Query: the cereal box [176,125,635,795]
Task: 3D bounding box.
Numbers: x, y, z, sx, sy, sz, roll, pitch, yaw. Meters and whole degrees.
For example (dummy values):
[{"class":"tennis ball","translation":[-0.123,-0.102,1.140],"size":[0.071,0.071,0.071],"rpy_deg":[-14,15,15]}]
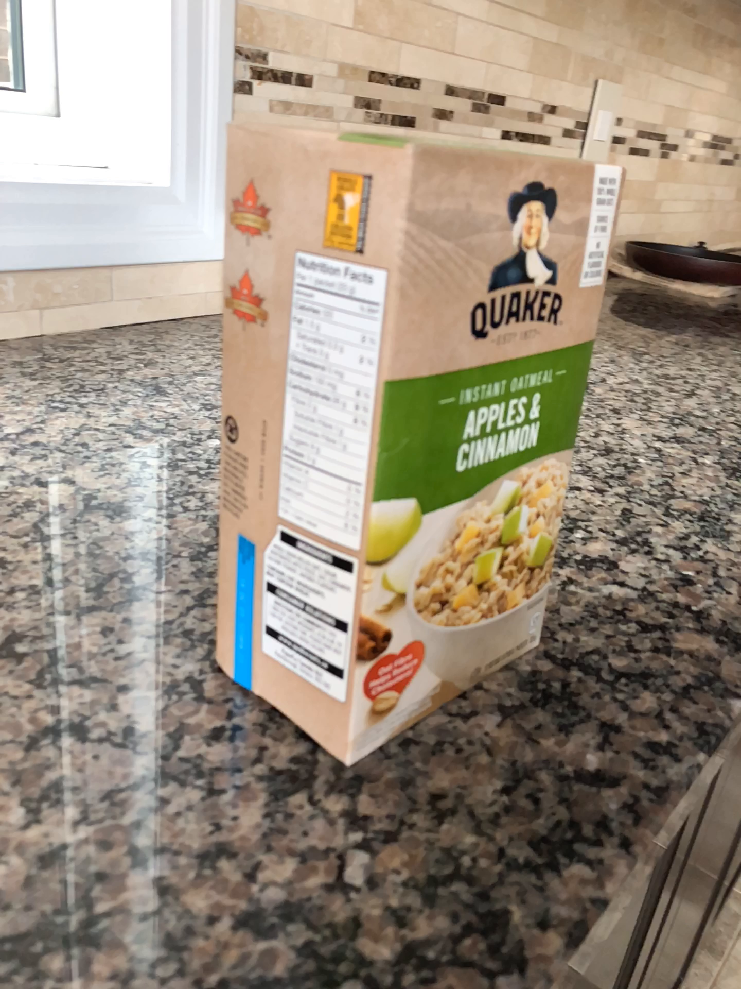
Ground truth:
[{"class":"cereal box","translation":[0.007,-0.020,0.318],"size":[0.090,0.209,0.130],"rpy_deg":[26,30,37]}]
